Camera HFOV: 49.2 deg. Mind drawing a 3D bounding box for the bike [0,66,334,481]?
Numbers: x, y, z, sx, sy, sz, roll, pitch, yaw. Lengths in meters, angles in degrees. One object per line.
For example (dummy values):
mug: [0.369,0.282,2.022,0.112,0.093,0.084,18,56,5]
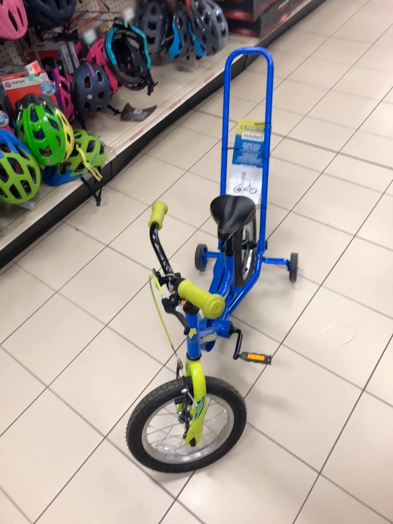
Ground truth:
bike: [-0.043,0.006,1.280,0.539,0.763,0.956,15,53,21]
